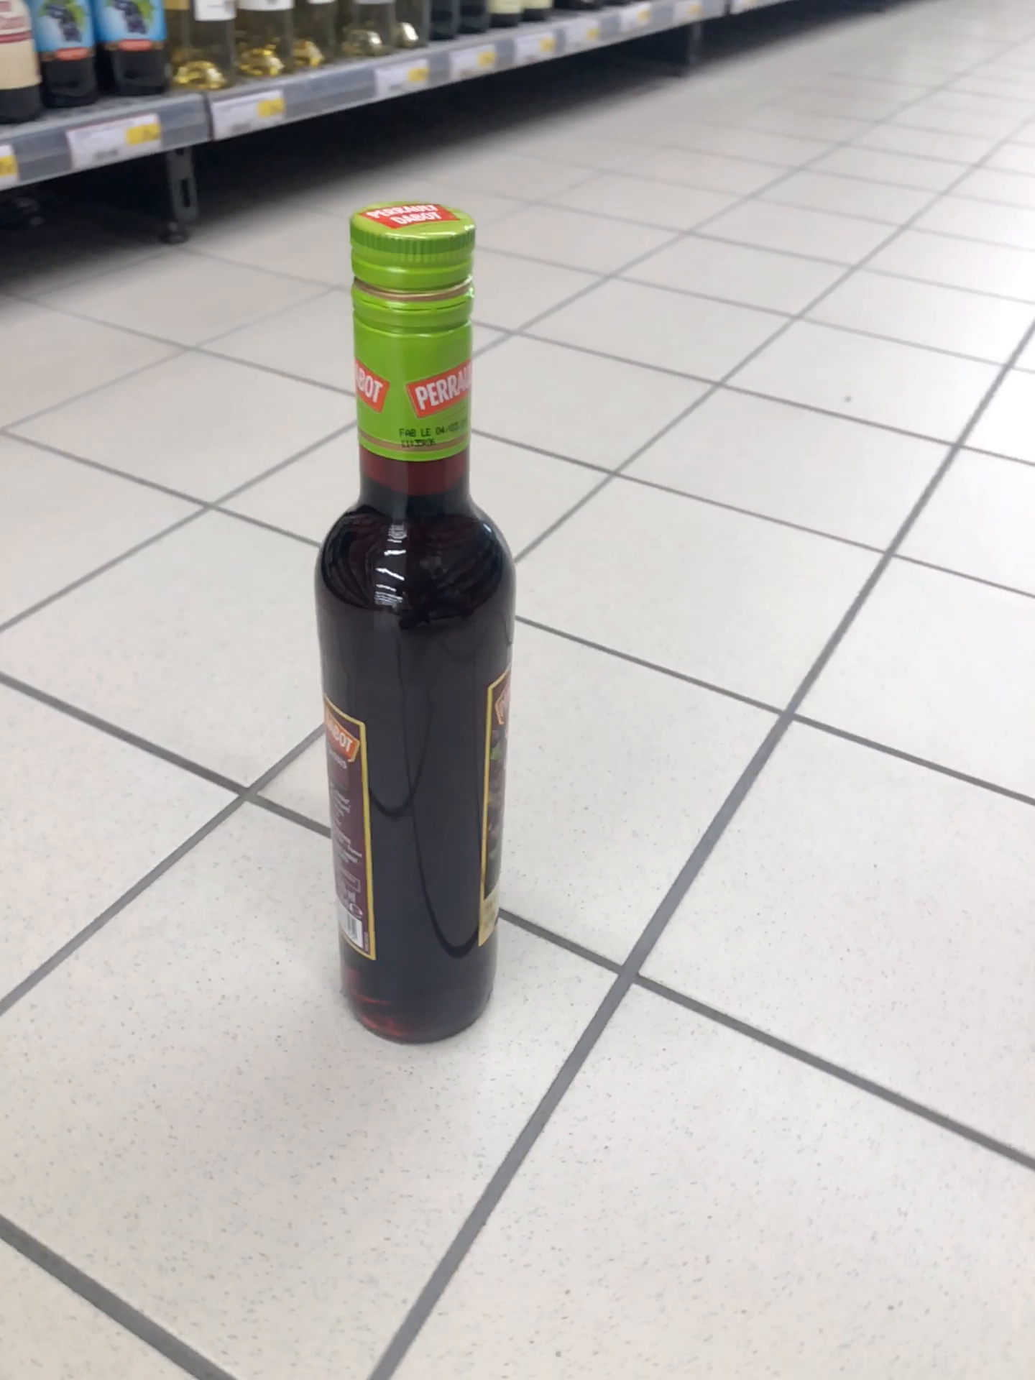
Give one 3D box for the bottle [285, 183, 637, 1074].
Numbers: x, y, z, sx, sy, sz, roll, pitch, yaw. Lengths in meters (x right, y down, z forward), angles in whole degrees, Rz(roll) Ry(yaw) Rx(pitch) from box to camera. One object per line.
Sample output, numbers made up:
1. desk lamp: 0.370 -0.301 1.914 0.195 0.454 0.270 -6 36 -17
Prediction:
1. bottle: -0.024 -0.002 0.373 0.070 0.288 0.070 2 36 -2
